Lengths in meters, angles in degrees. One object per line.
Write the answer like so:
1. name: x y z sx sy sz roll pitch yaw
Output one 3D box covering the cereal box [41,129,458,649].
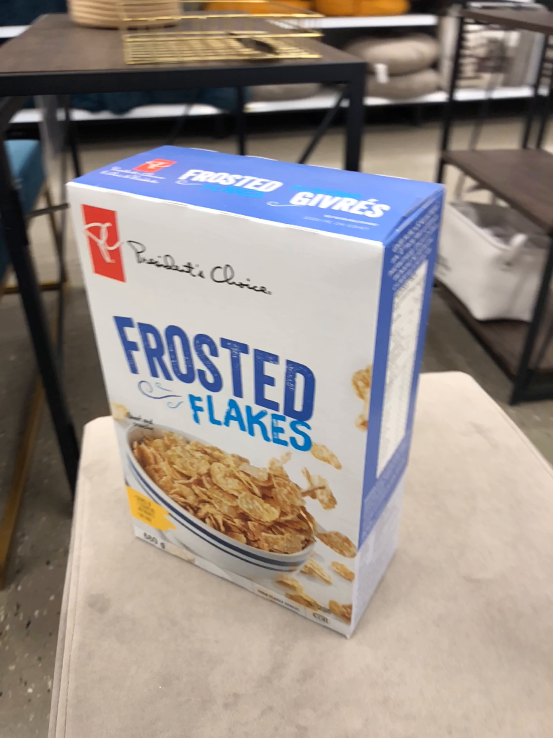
1. cereal box: -0.016 0.013 0.408 0.200 0.289 0.100 17 37 25
